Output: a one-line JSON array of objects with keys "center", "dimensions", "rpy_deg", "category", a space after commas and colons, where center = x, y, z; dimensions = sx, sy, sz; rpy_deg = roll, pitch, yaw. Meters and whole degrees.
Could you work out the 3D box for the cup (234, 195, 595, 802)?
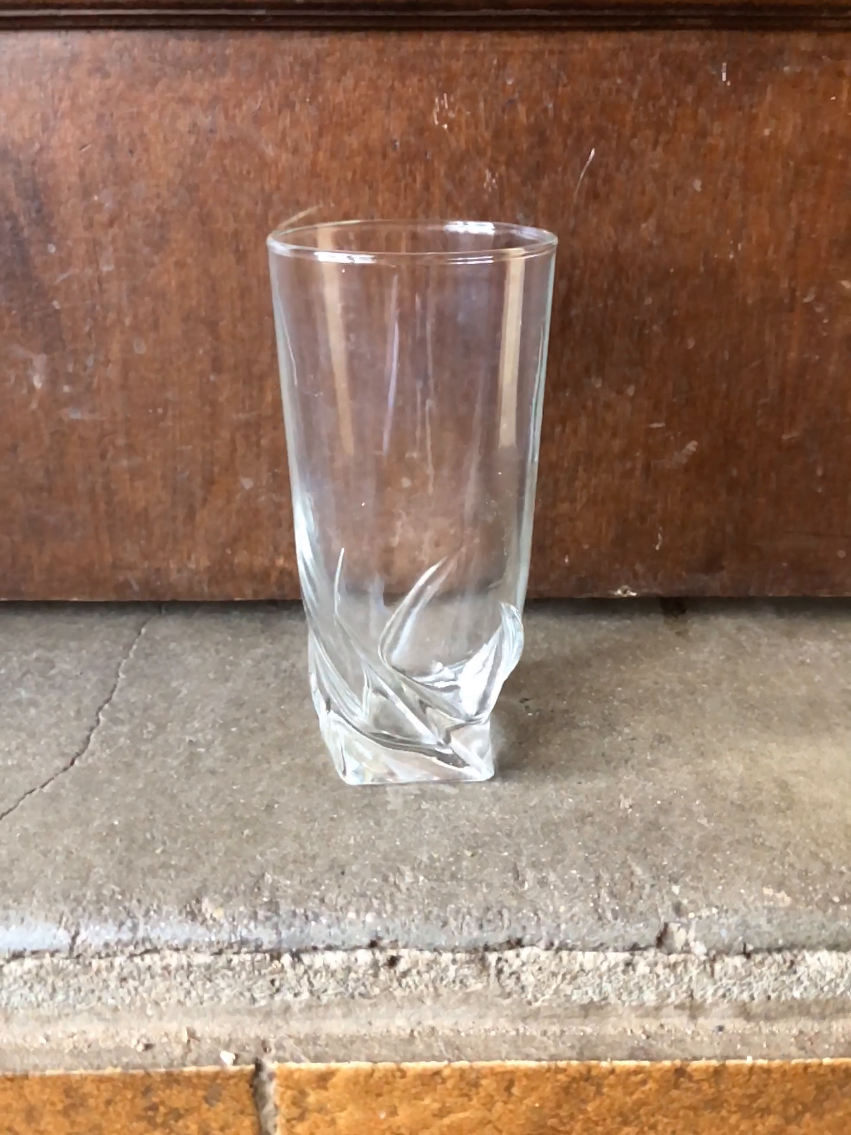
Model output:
[{"center": [-0.003, -0.017, 0.240], "dimensions": [0.070, 0.139, 0.060], "rpy_deg": [-1, 25, -3], "category": "cup"}]
